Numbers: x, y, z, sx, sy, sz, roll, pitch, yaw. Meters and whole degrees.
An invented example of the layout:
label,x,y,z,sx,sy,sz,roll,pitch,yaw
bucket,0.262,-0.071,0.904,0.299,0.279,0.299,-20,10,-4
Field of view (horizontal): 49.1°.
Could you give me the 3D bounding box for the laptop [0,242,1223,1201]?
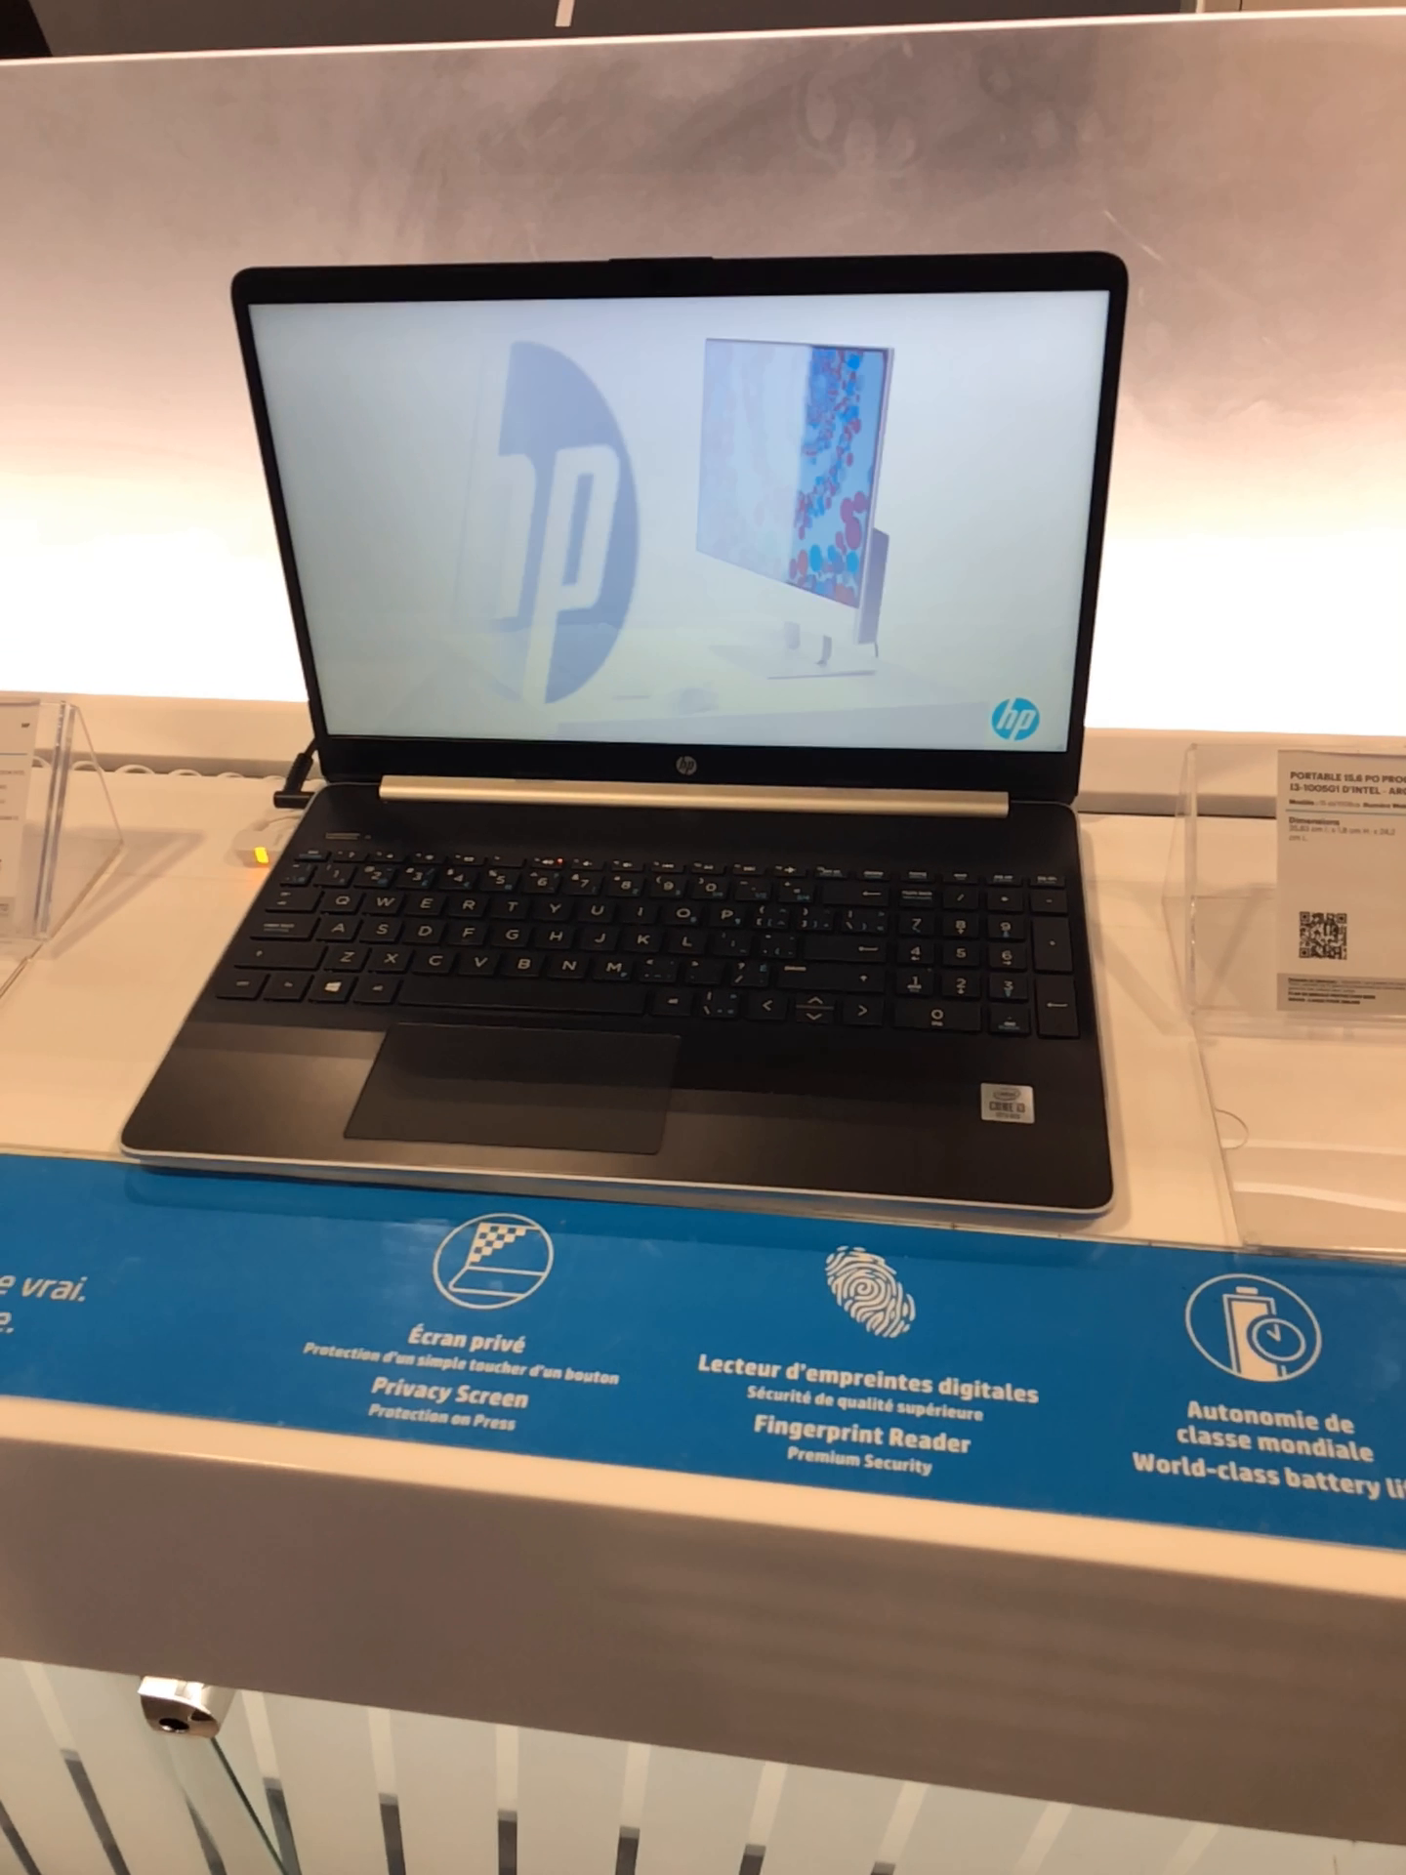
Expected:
label,x,y,z,sx,sy,sz,roll,pitch,yaw
laptop,-0.023,-0.097,0.580,0.355,0.221,0.284,2,40,8
